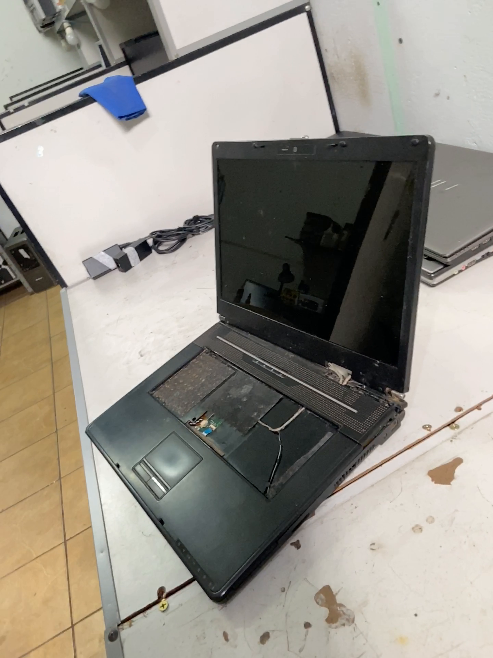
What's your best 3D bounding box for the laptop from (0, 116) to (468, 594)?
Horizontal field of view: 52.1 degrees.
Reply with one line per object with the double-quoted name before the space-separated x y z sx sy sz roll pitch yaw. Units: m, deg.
"laptop" -0.033 -0.021 0.572 0.380 0.235 0.345 -39 34 -20
